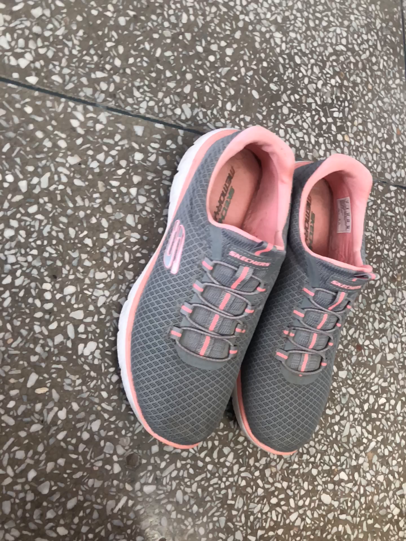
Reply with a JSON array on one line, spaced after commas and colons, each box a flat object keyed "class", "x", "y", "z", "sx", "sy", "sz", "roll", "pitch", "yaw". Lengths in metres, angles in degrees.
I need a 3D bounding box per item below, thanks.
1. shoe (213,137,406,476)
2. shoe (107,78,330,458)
[{"class": "shoe", "x": 0.093, "y": 0.029, "z": 0.372, "sx": 0.090, "sy": 0.100, "sz": 0.230, "roll": 17, "pitch": 79, "yaw": -22}, {"class": "shoe", "x": 0.010, "y": 0.000, "z": 0.348, "sx": 0.090, "sy": 0.100, "sz": 0.240, "roll": 17, "pitch": 79, "yaw": -22}]
